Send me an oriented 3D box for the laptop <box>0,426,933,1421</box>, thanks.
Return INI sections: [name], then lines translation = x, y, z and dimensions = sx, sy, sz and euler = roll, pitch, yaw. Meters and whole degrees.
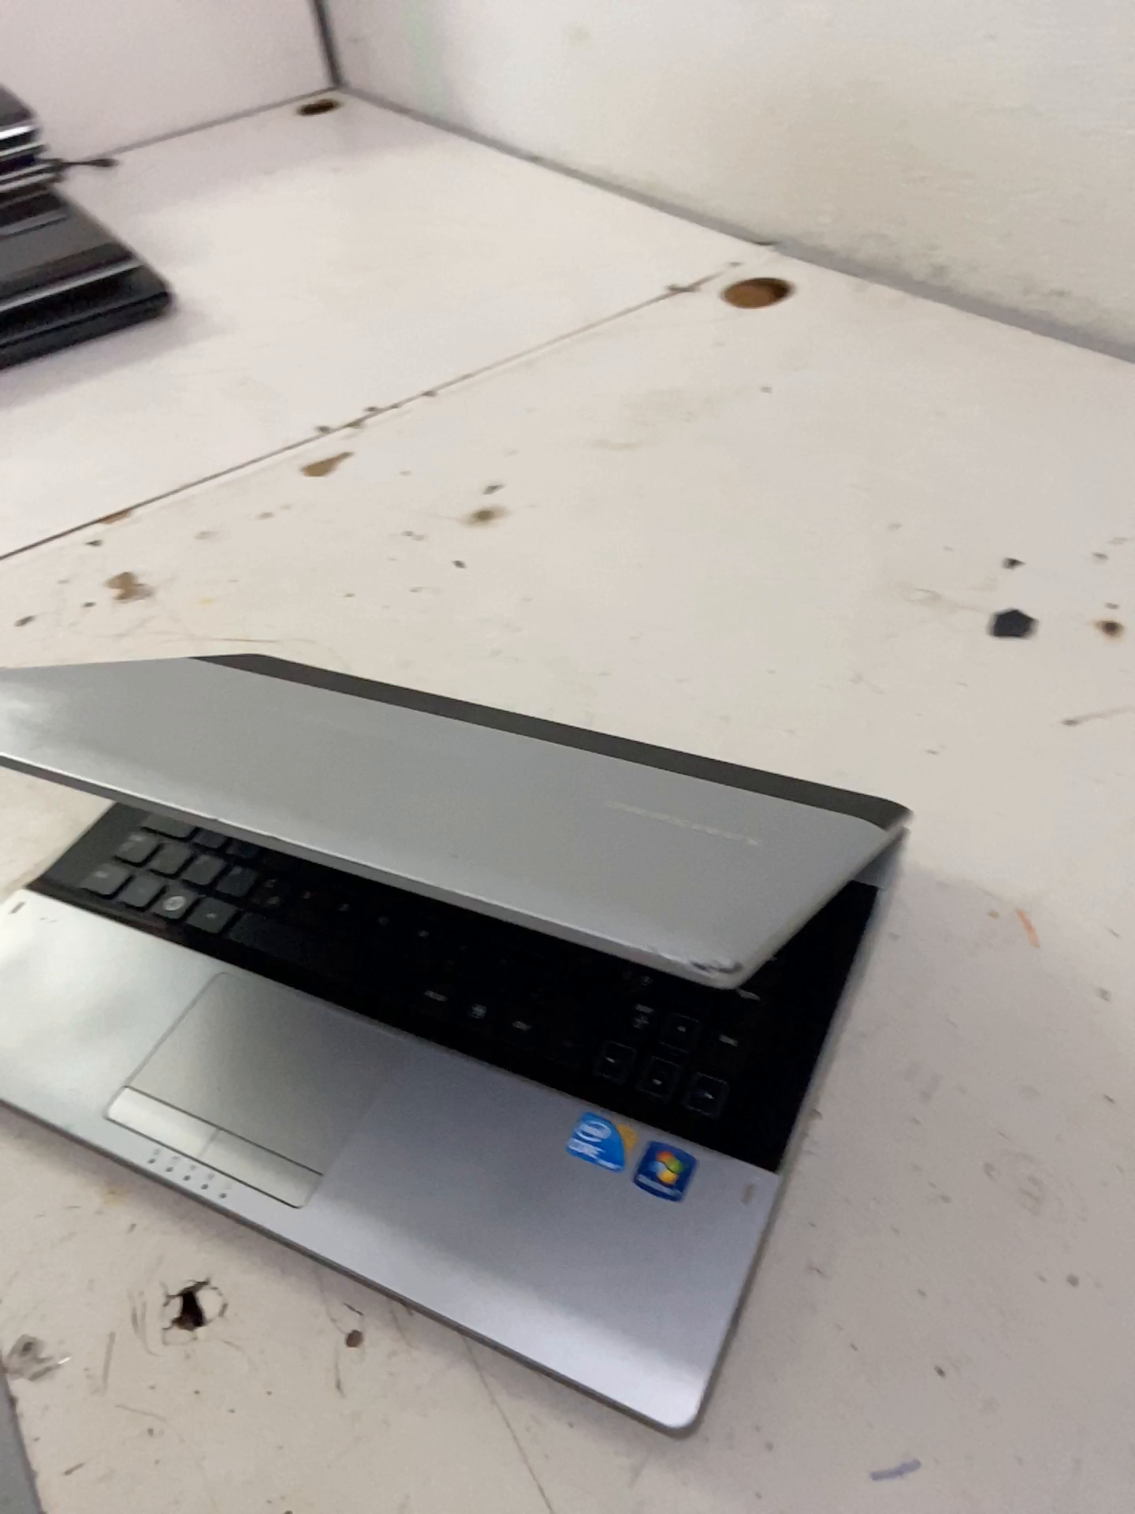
[laptop]
translation = -0.077, 0.019, 0.409
dimensions = 0.336, 0.133, 0.233
euler = 14, 48, 23
